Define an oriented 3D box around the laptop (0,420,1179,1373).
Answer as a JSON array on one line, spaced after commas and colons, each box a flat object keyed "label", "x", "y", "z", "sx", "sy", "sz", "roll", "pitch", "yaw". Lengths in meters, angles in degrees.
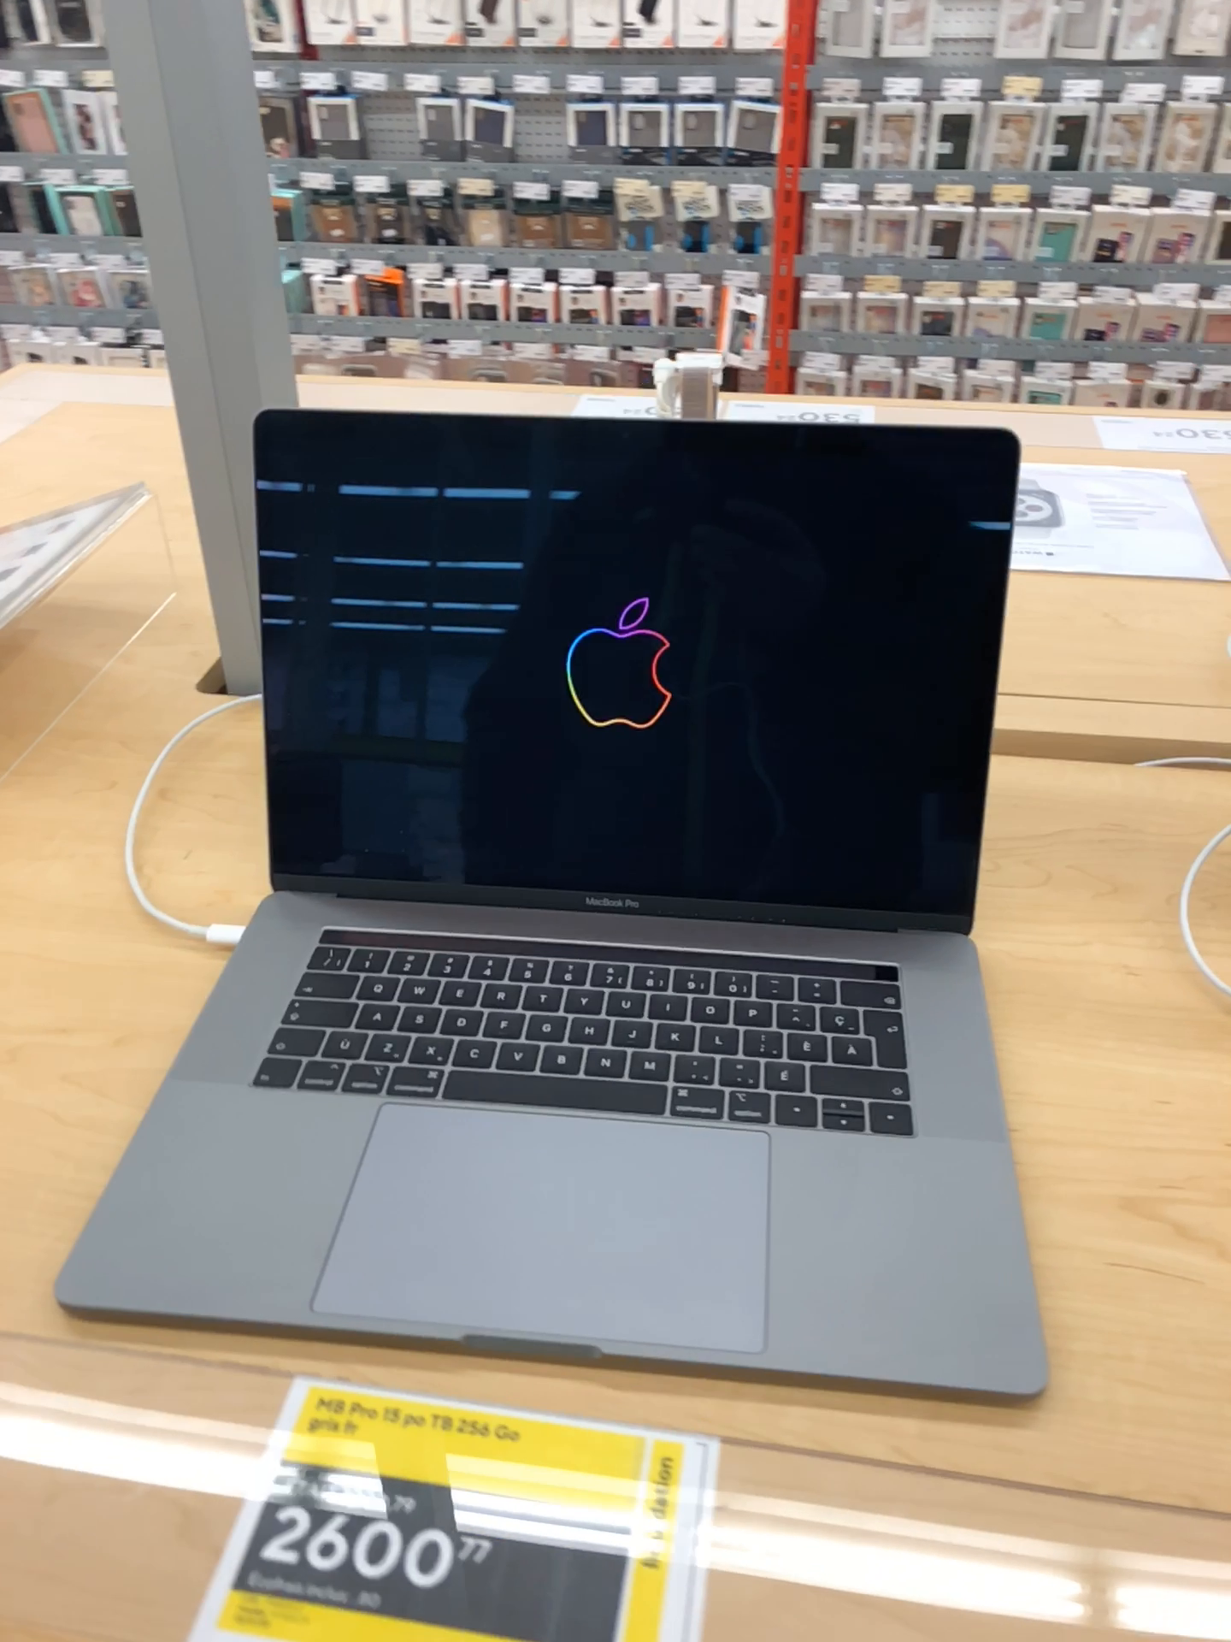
[{"label": "laptop", "x": -0.011, "y": 0.003, "z": 0.516, "sx": 0.329, "sy": 0.212, "sz": 0.299, "roll": 3, "pitch": 34, "yaw": 5}]
